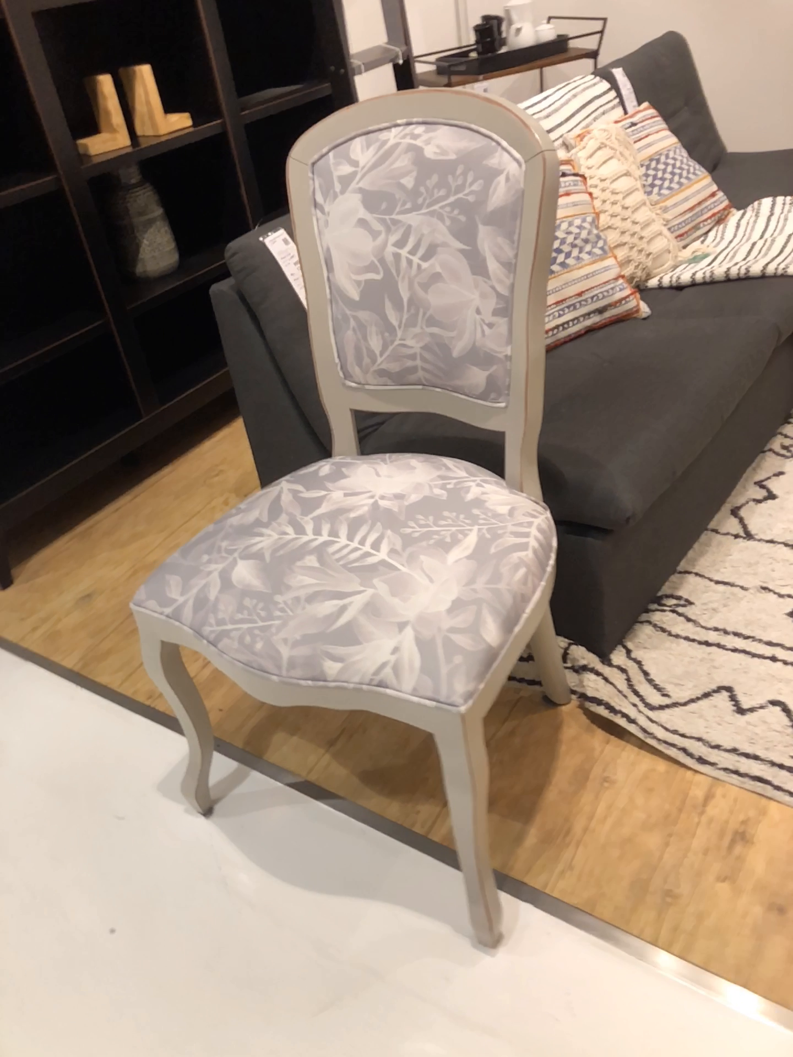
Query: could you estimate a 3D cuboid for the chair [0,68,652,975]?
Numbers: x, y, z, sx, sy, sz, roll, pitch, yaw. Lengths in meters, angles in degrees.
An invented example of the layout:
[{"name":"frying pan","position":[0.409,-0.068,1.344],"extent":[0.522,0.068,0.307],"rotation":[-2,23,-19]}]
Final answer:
[{"name":"chair","position":[-0.037,-0.025,1.169],"extent":[0.571,0.942,0.533],"rotation":[14,40,31]}]
